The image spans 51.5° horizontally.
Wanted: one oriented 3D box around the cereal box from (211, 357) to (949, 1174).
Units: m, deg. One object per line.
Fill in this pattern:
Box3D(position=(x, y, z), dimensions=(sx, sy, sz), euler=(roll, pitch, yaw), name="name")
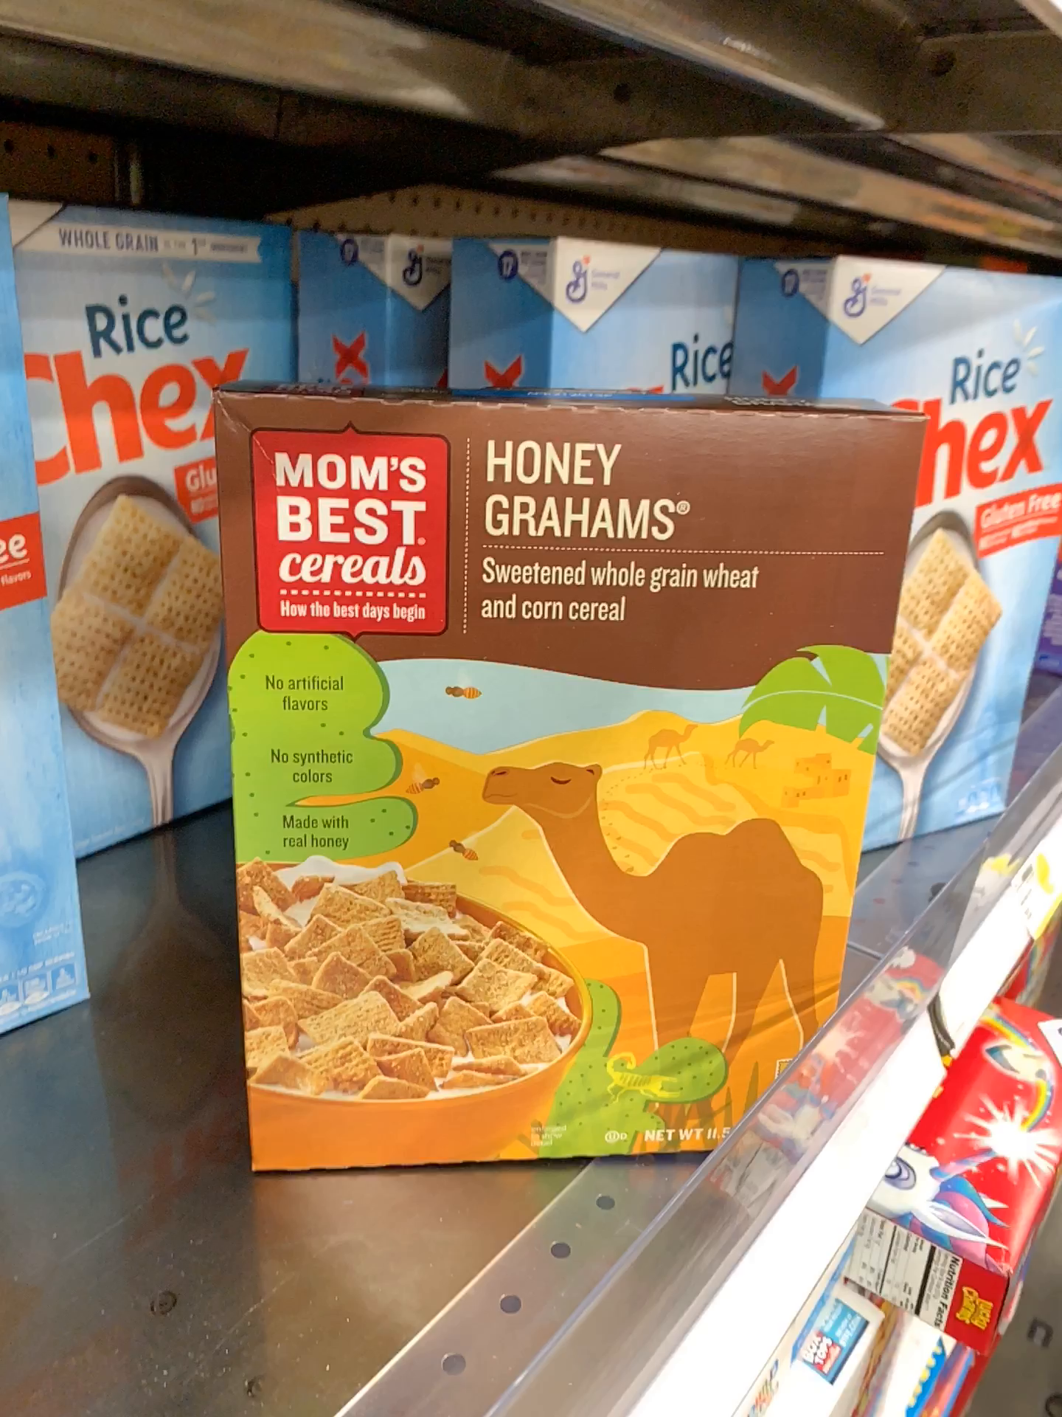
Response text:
Box3D(position=(0.010, 0.025, 0.361), dimensions=(0.200, 0.259, 0.050), euler=(0, 19, -6), name="cereal box")
